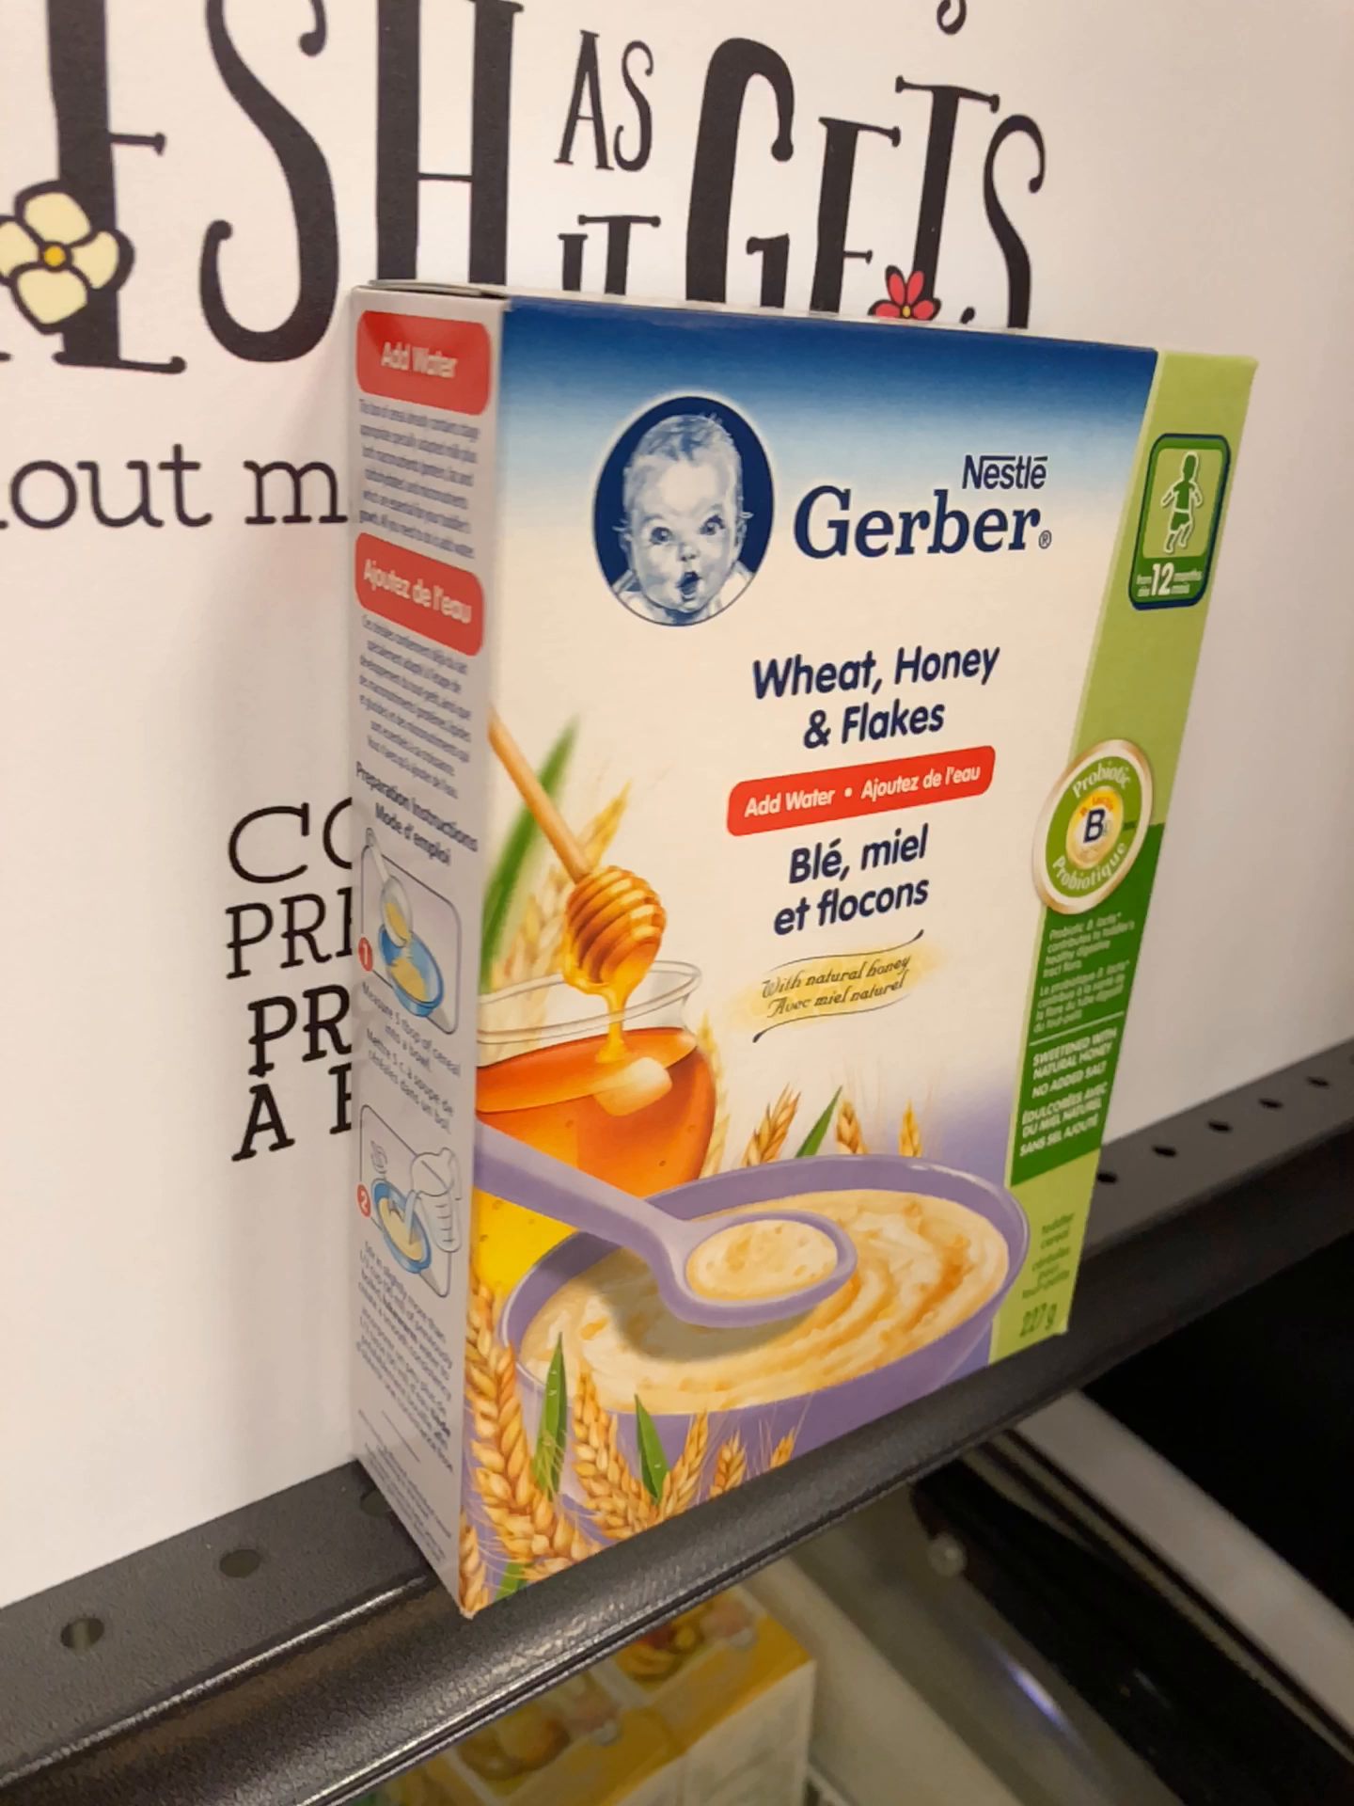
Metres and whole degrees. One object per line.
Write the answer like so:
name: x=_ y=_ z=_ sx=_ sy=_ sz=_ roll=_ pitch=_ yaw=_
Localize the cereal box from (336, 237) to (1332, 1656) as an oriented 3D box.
cereal box: x=0.023 y=0.003 z=0.258 sx=0.150 sy=0.199 sz=0.050 roll=-11 pitch=27 yaw=-35
